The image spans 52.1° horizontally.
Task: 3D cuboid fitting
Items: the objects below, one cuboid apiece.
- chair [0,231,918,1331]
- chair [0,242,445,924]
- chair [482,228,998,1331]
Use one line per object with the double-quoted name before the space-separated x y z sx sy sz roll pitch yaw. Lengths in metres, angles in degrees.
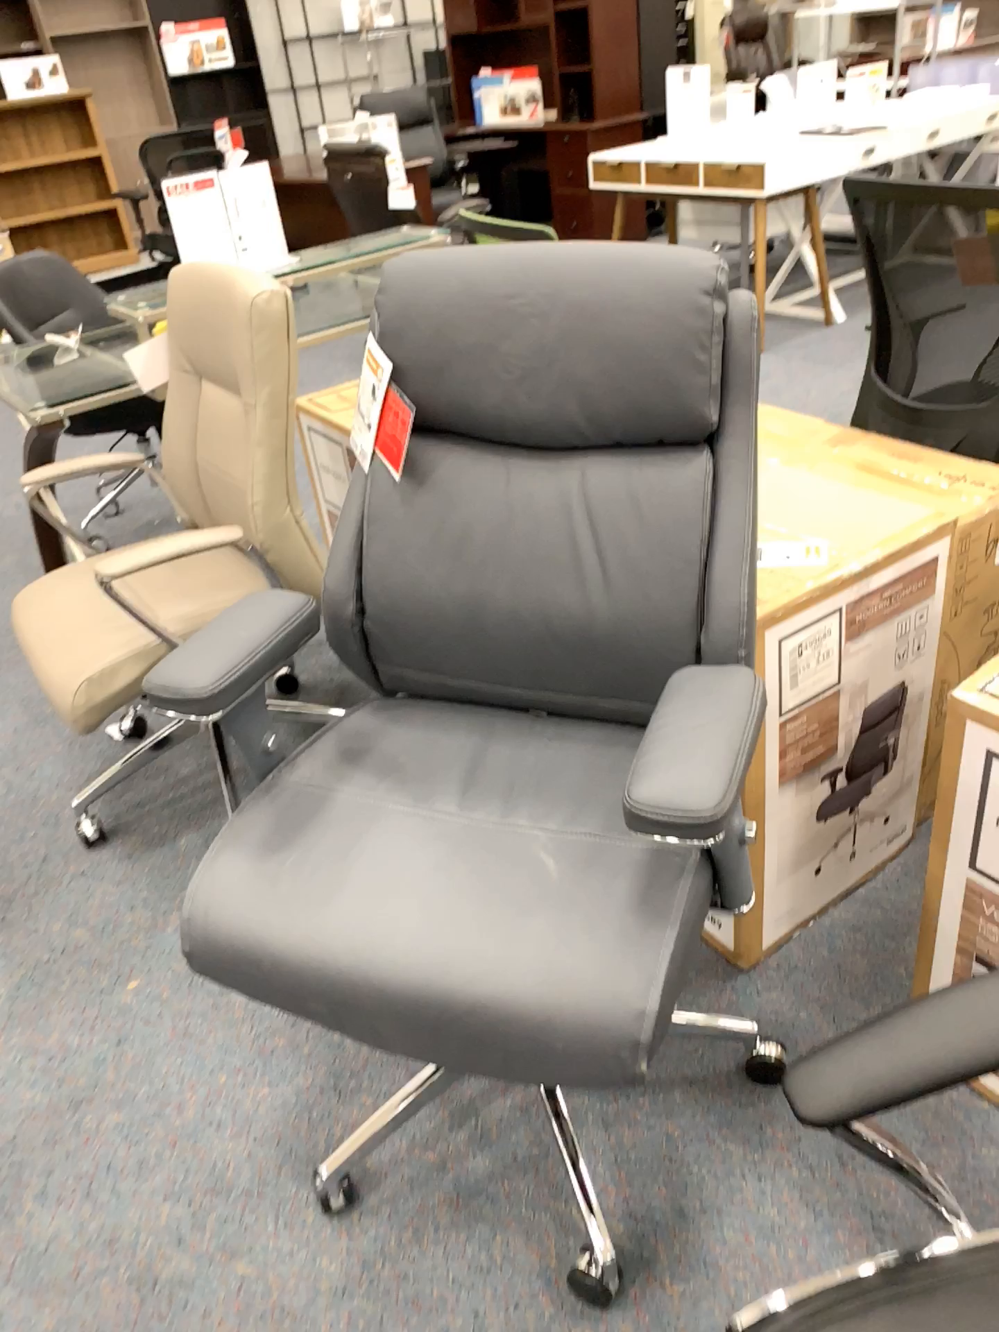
"chair" 0.037 0.120 1.235 0.695 1.075 0.697 7 35 16
"chair" -0.690 -0.230 2.048 0.715 0.976 0.787 -26 36 -26
"chair" 0.517 0.471 0.537 0.784 1.095 0.768 -12 32 -7
